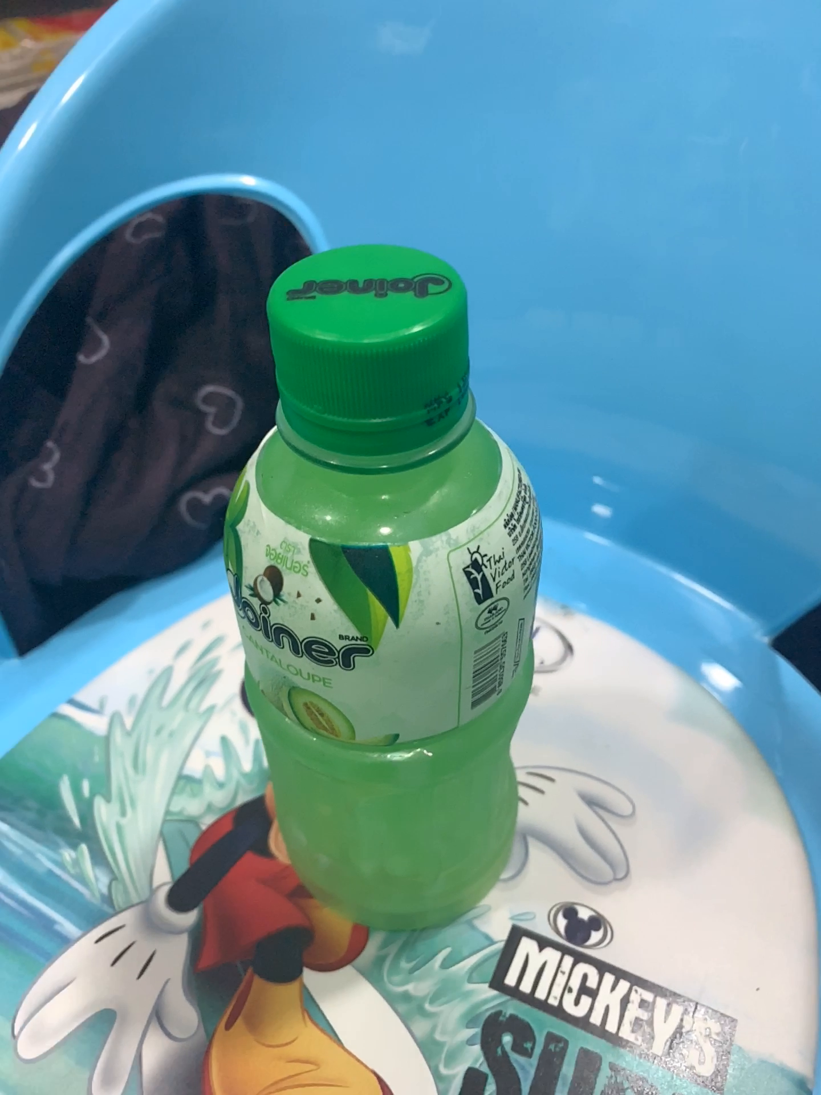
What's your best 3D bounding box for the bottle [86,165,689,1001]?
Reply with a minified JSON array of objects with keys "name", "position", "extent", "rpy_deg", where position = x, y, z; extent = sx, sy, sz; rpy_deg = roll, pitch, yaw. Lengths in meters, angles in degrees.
[{"name":"bottle","position":[-0.001,0.013,0.164],"extent":[0.060,0.139,0.060],"rpy_deg":[0,40,0]}]
